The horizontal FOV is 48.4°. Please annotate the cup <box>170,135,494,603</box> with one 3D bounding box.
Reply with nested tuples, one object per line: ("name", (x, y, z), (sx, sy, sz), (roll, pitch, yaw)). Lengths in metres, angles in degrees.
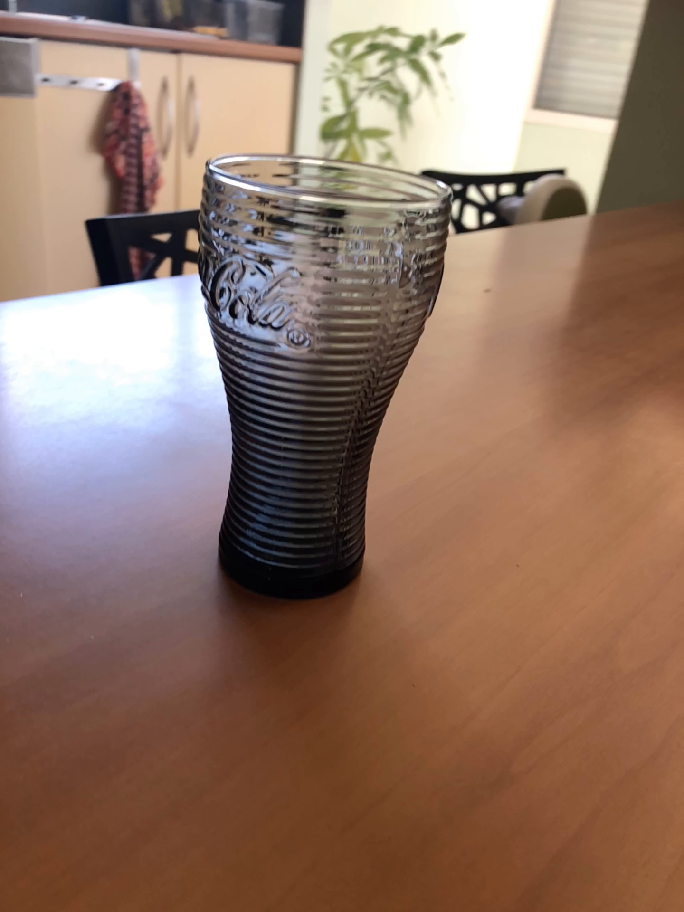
("cup", (-0.013, -0.029, 0.253), (0.080, 0.129, 0.080), (6, 27, -3))
